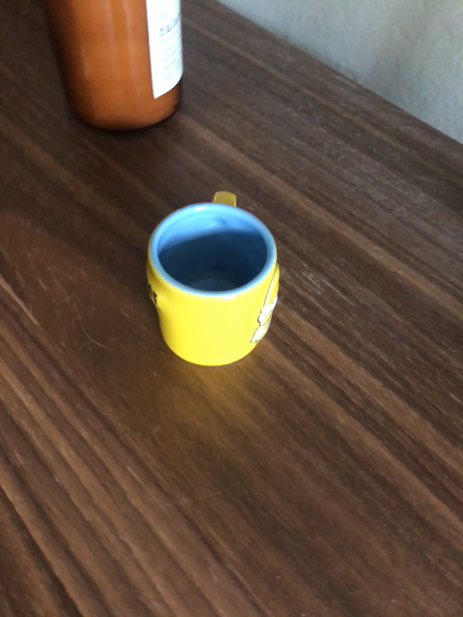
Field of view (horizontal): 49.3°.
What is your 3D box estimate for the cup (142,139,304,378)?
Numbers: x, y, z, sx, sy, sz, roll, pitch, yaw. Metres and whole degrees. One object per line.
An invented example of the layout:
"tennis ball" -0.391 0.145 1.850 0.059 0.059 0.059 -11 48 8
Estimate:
"cup" -0.001 -0.024 0.238 0.060 0.060 0.091 5 55 1
